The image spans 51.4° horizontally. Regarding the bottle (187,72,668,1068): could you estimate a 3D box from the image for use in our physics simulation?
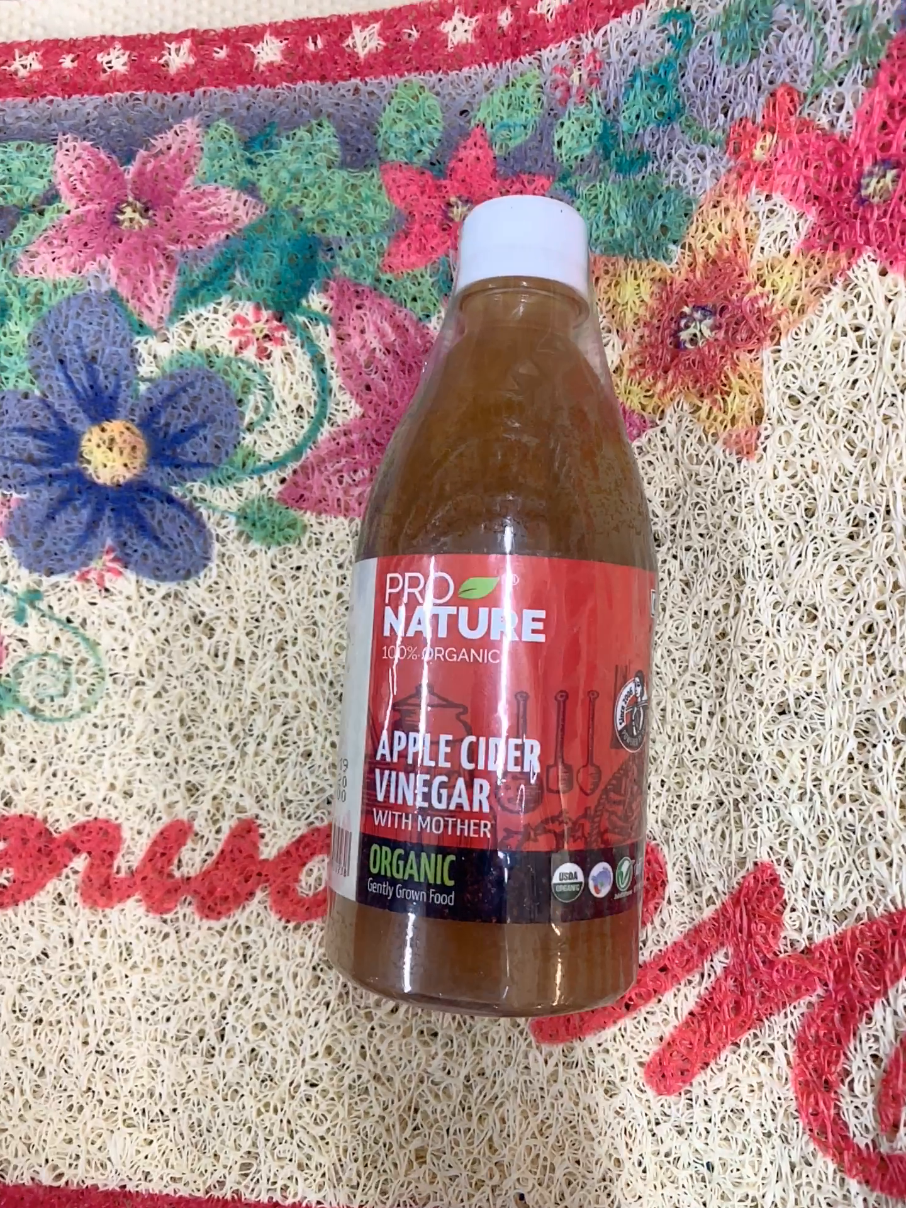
[{"bbox_3d":[-0.002,-0.006,0.185,0.080,0.050,0.160,2,93,13],"label":"bottle"}]
